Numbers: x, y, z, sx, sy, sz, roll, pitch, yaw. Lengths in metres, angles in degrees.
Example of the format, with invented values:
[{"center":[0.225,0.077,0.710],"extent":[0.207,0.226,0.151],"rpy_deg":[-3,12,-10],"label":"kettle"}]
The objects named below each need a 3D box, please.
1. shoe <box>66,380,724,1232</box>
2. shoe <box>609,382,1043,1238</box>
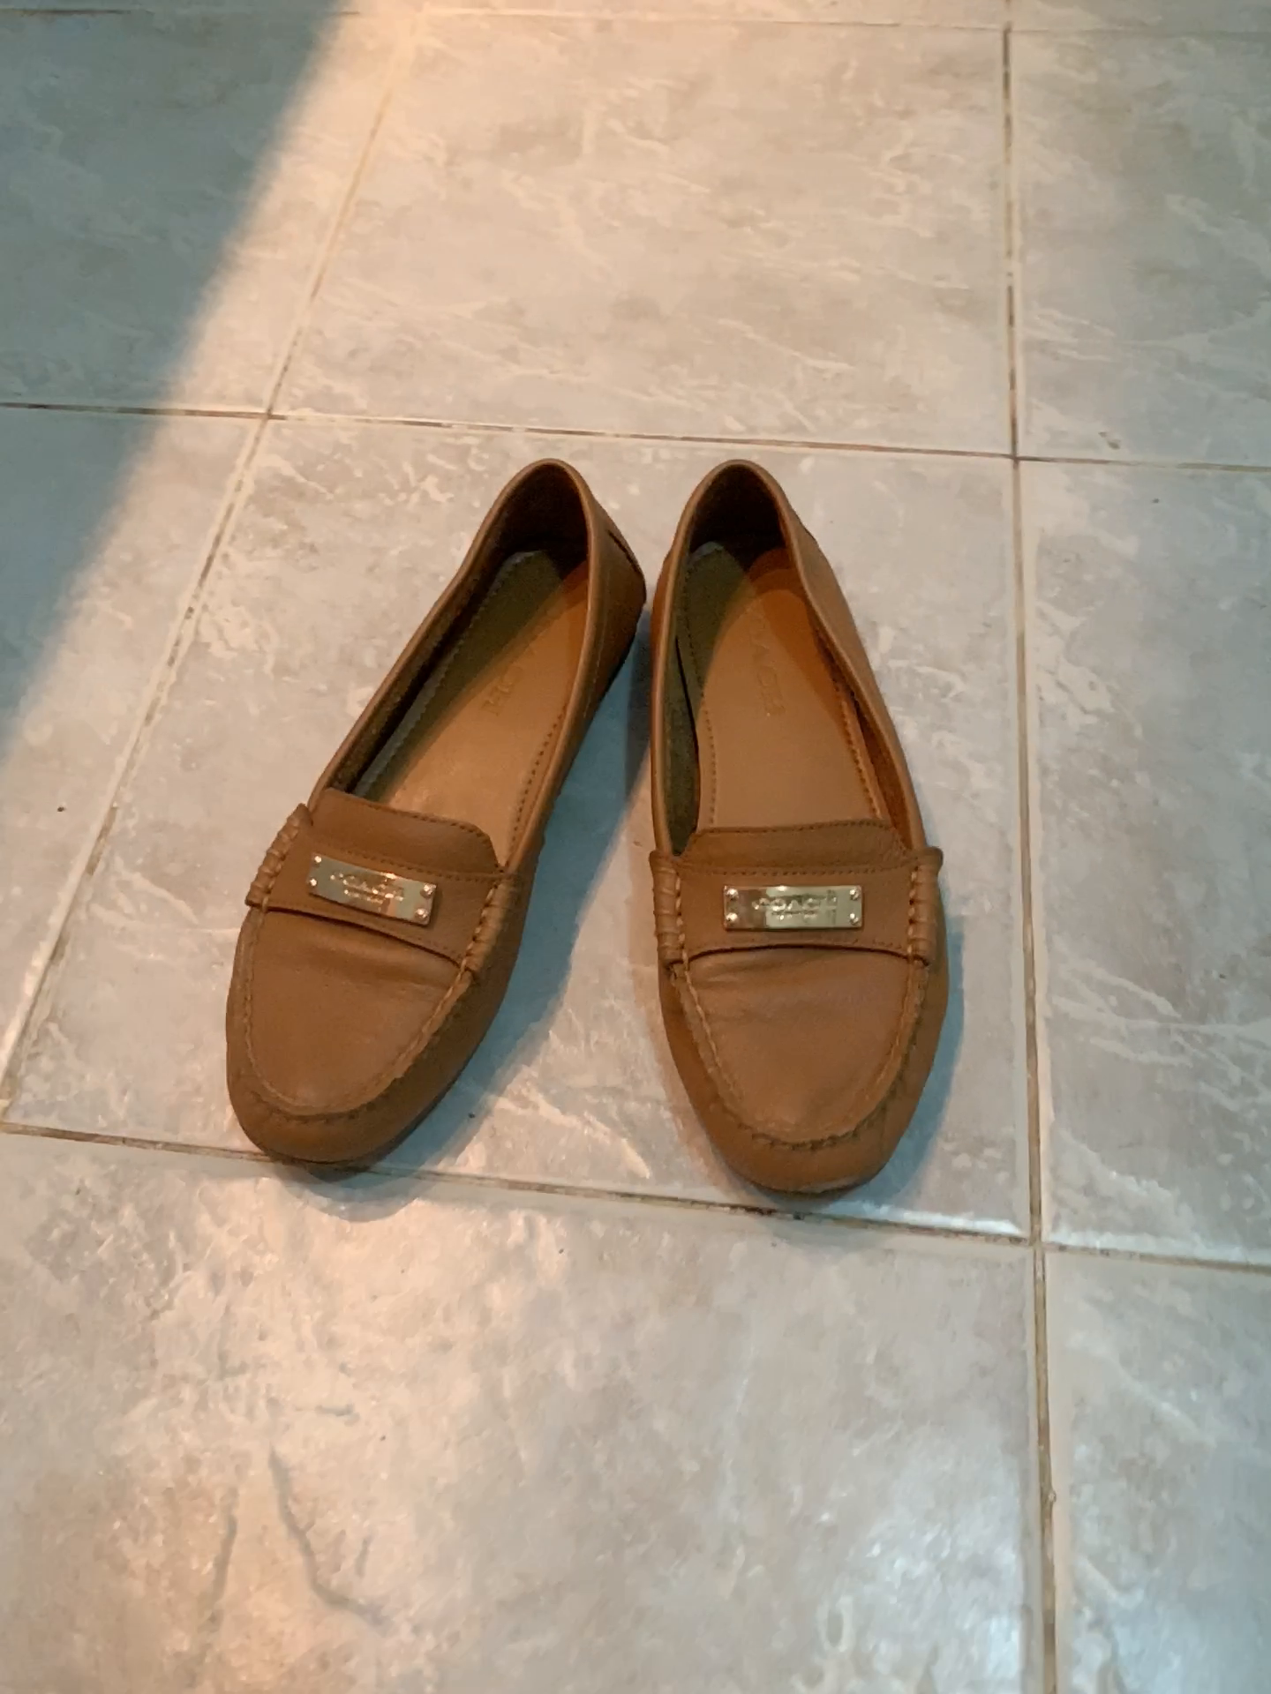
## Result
[{"center":[-0.053,-0.023,0.390],"extent":[0.083,0.071,0.244],"rpy_deg":[17,63,13],"label":"shoe"},{"center":[0.043,-0.021,0.379],"extent":[0.085,0.071,0.243],"rpy_deg":[-4,60,1],"label":"shoe"}]
